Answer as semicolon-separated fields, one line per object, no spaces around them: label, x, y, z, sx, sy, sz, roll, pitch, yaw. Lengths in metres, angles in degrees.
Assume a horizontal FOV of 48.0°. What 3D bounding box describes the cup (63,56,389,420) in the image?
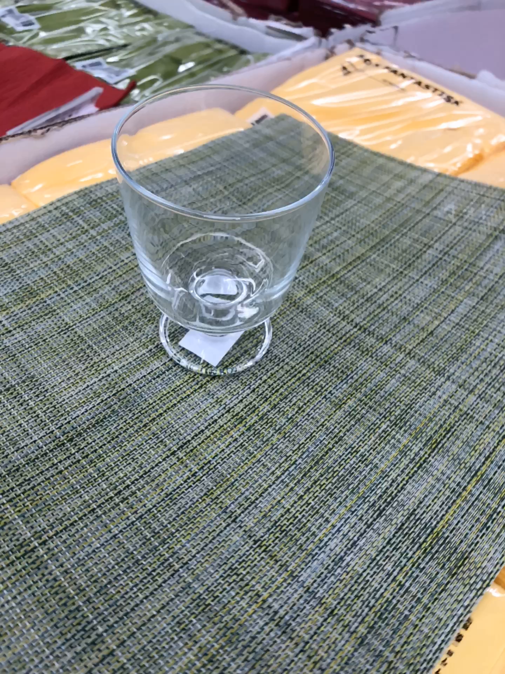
cup;-0.016;-0.043;0.258;0.090;0.110;0.090;3;54;-4
